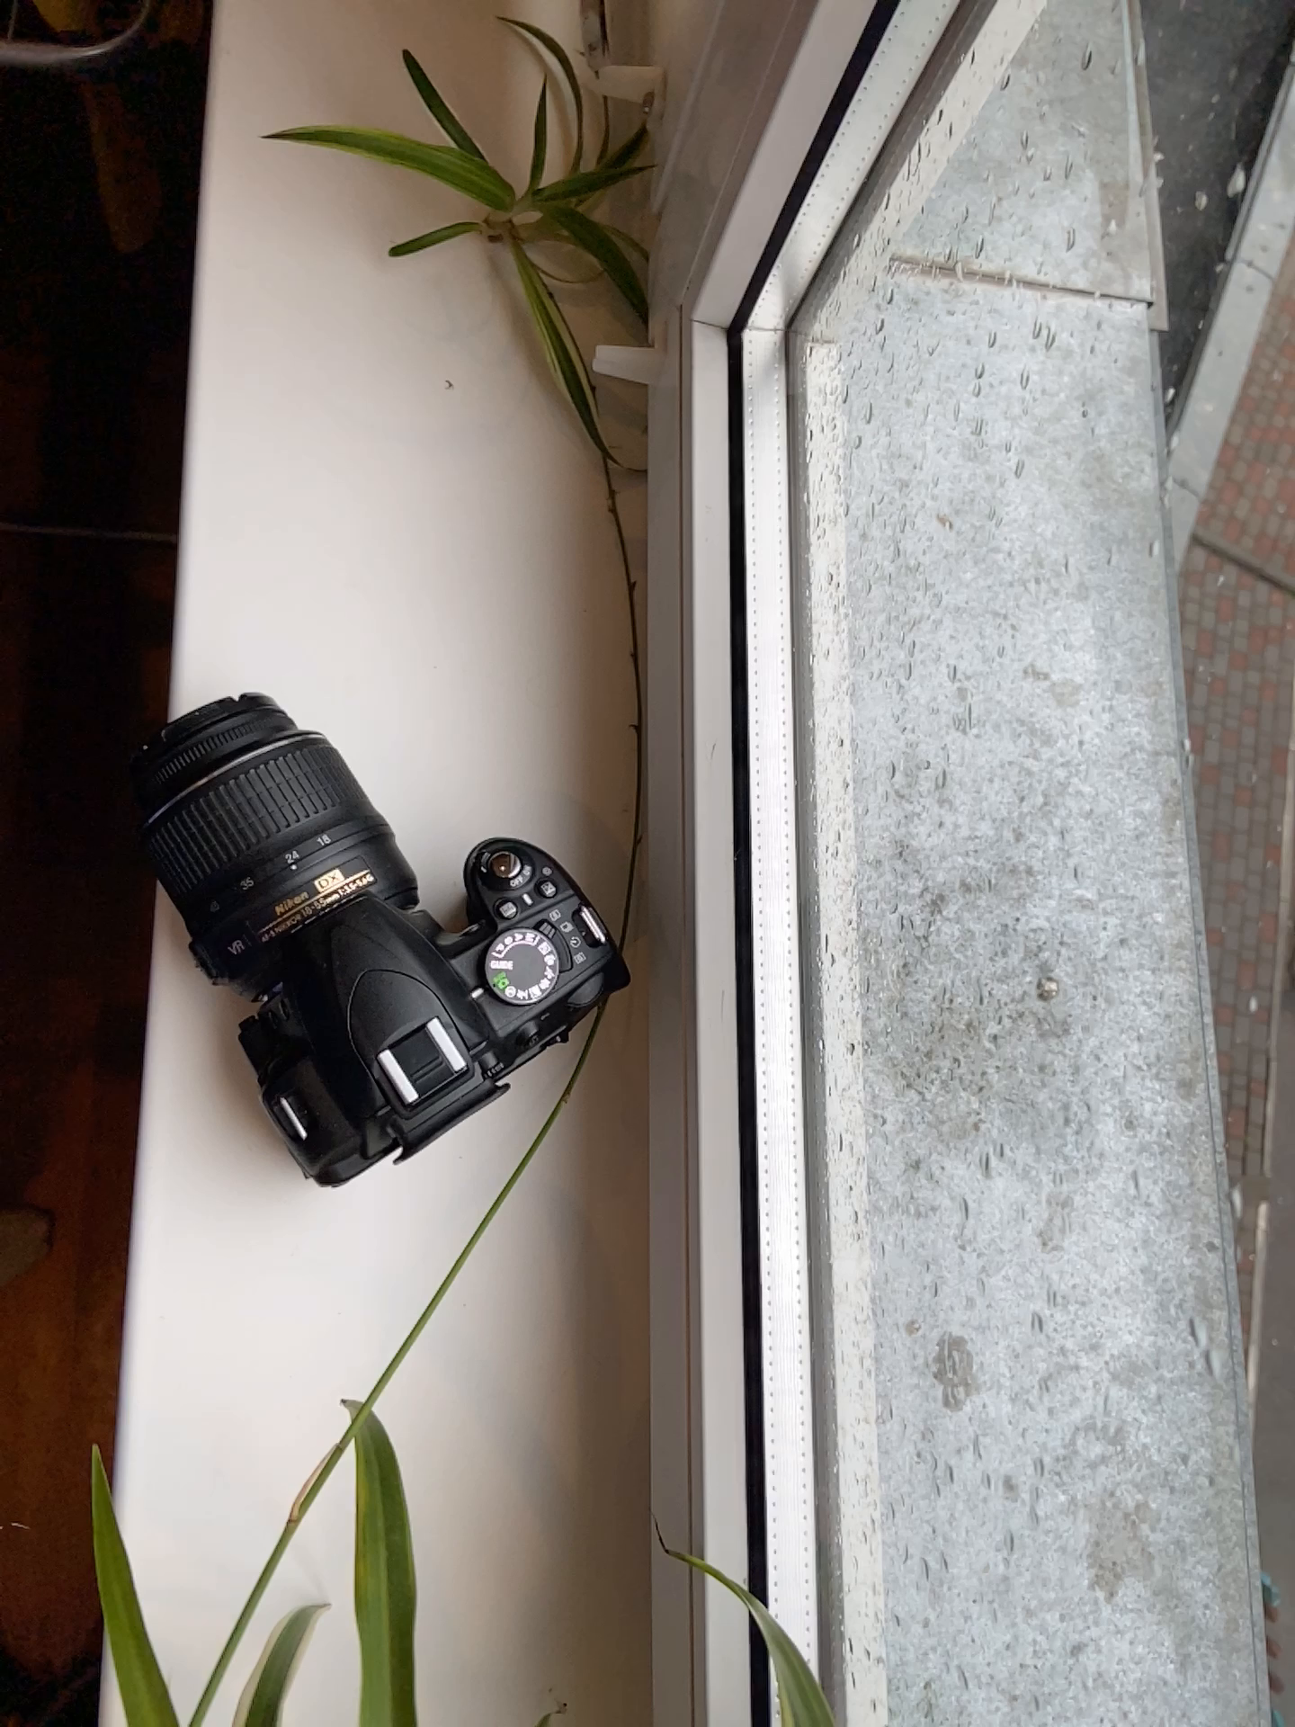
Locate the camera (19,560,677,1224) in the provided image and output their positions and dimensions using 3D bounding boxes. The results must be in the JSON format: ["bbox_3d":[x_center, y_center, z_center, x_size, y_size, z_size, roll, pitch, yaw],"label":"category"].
[{"bbox_3d":[-0.094,0.011,0.433,0.125,0.091,0.154,-34,88,-16],"label":"camera"}]
